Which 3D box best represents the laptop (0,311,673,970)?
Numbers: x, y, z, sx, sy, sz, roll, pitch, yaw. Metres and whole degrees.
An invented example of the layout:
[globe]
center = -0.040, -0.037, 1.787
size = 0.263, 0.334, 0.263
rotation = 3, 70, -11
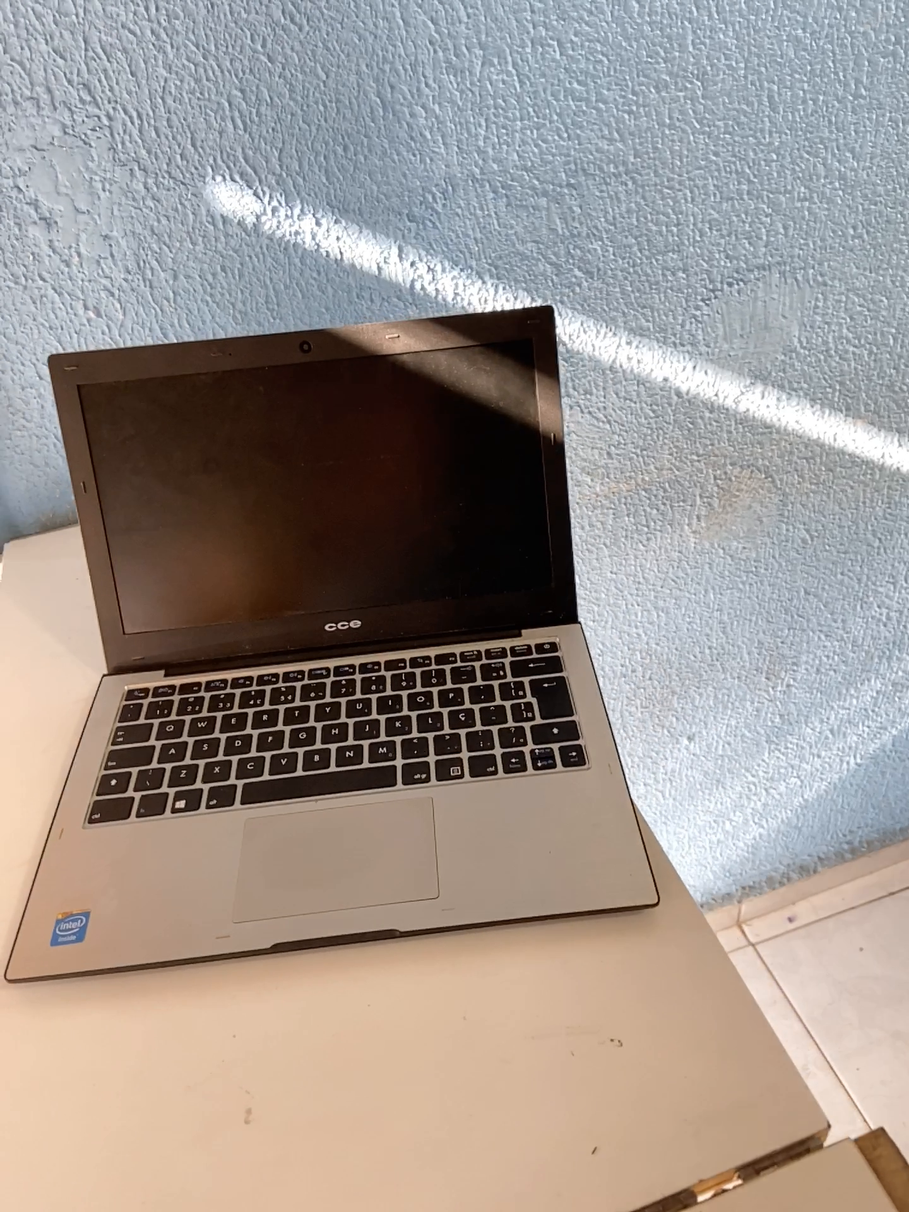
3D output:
[laptop]
center = -0.079, -0.005, 0.517
size = 0.313, 0.181, 0.305
rotation = -6, 38, -1
